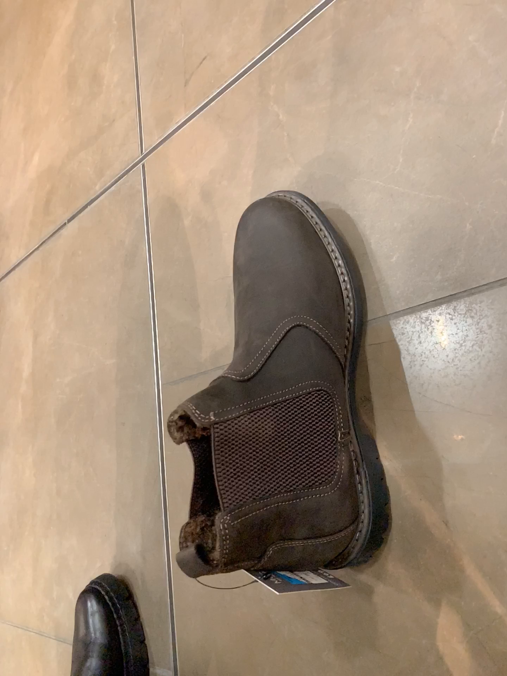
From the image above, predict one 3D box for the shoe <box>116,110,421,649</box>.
[{"bbox_3d":[0.006,0.025,0.385,0.114,0.165,0.304,-18,71,43],"label":"shoe"}]
